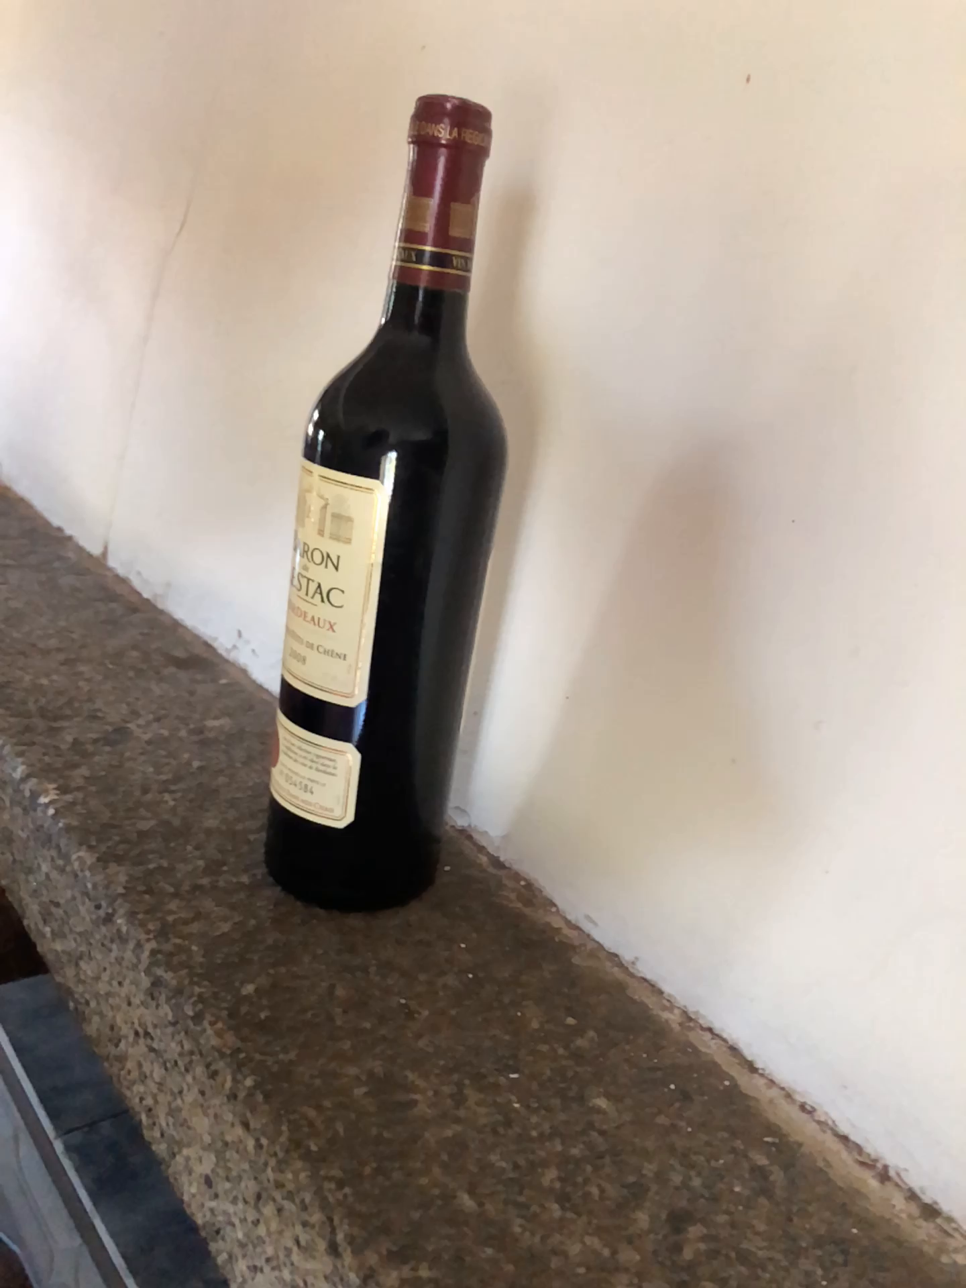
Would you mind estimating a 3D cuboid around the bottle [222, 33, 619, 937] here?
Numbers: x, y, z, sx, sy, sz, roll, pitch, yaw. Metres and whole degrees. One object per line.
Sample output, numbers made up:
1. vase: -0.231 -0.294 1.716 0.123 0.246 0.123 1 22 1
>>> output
1. bottle: -0.031 -0.047 0.377 0.070 0.279 0.080 -2 19 -37
